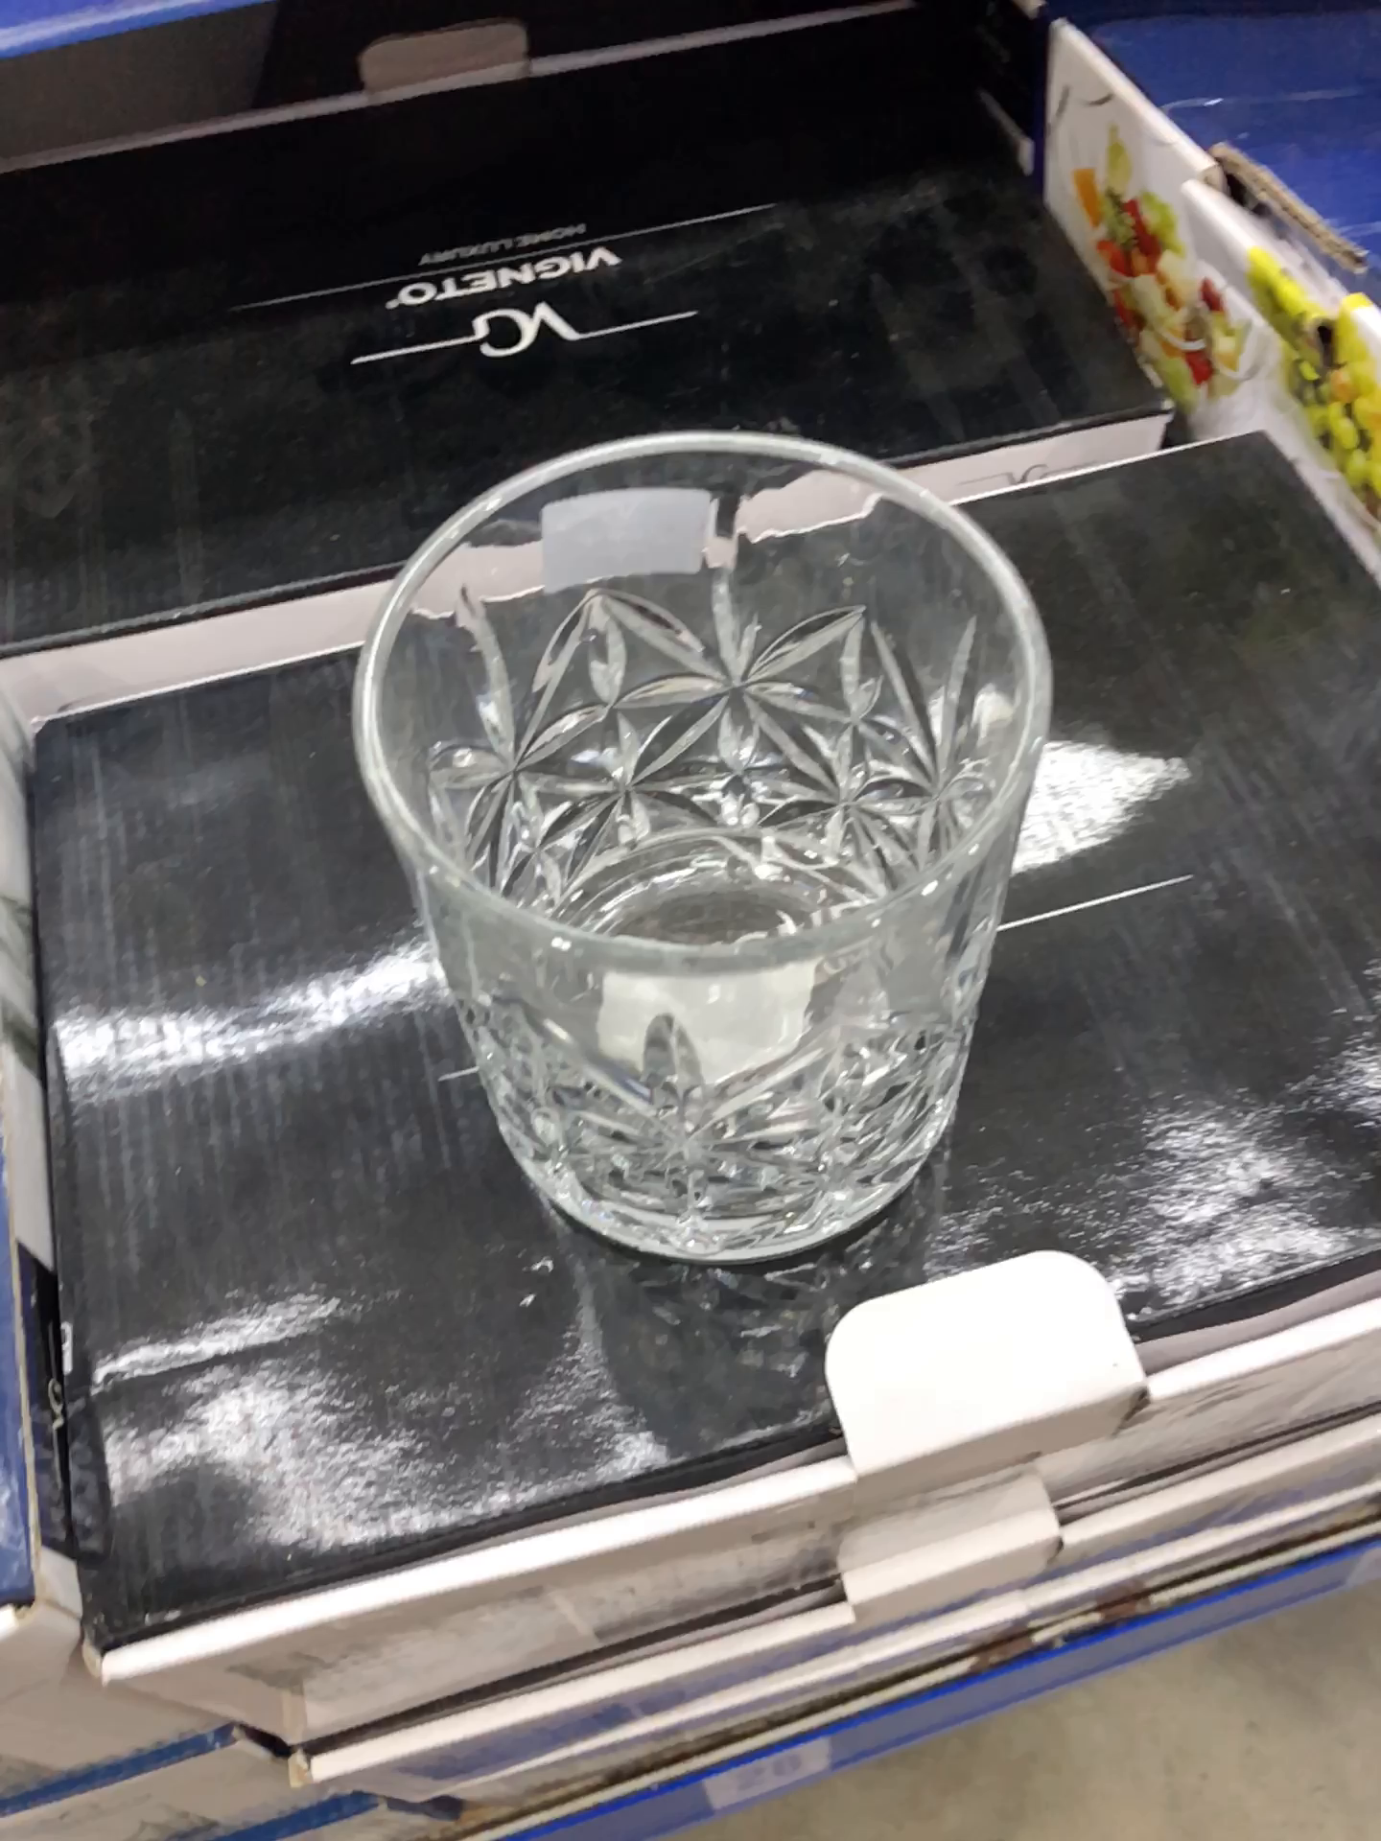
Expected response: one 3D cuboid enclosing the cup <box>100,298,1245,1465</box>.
[{"bbox_3d":[-0.005,-0.003,0.224,0.100,0.100,0.100,-2,58,3],"label":"cup"}]
